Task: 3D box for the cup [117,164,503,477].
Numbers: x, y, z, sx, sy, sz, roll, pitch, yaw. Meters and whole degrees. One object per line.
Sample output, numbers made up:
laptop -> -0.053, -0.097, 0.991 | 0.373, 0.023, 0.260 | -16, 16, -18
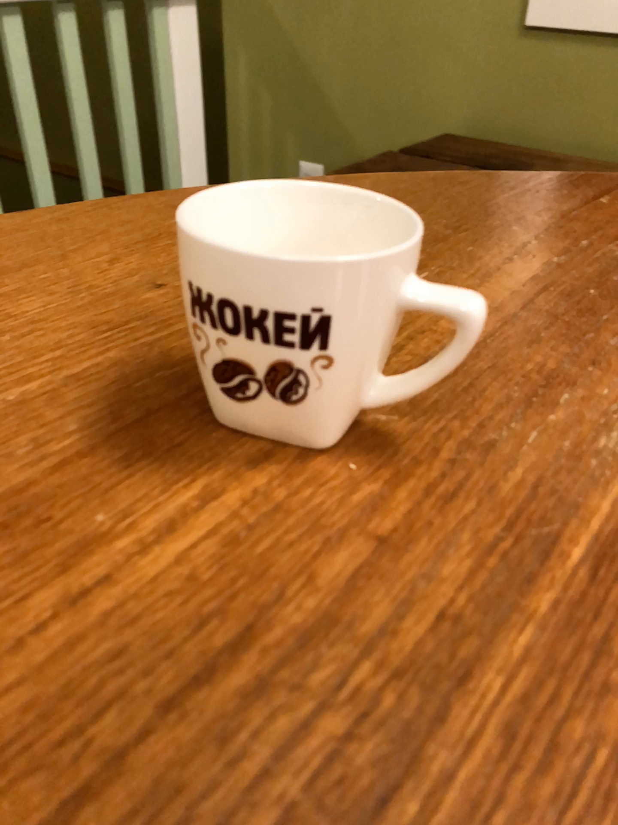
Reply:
cup -> 0.003, -0.029, 0.177 | 0.075, 0.047, 0.060 | 14, 35, 18
